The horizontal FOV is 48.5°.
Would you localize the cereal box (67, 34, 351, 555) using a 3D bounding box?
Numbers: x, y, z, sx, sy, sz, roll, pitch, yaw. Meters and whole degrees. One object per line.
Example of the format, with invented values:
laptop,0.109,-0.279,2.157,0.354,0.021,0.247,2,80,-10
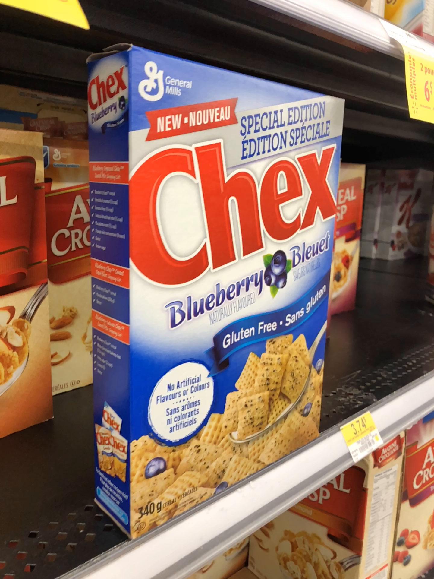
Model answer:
cereal box,0.003,0.000,0.350,0.200,0.289,0.060,-9,16,-42
